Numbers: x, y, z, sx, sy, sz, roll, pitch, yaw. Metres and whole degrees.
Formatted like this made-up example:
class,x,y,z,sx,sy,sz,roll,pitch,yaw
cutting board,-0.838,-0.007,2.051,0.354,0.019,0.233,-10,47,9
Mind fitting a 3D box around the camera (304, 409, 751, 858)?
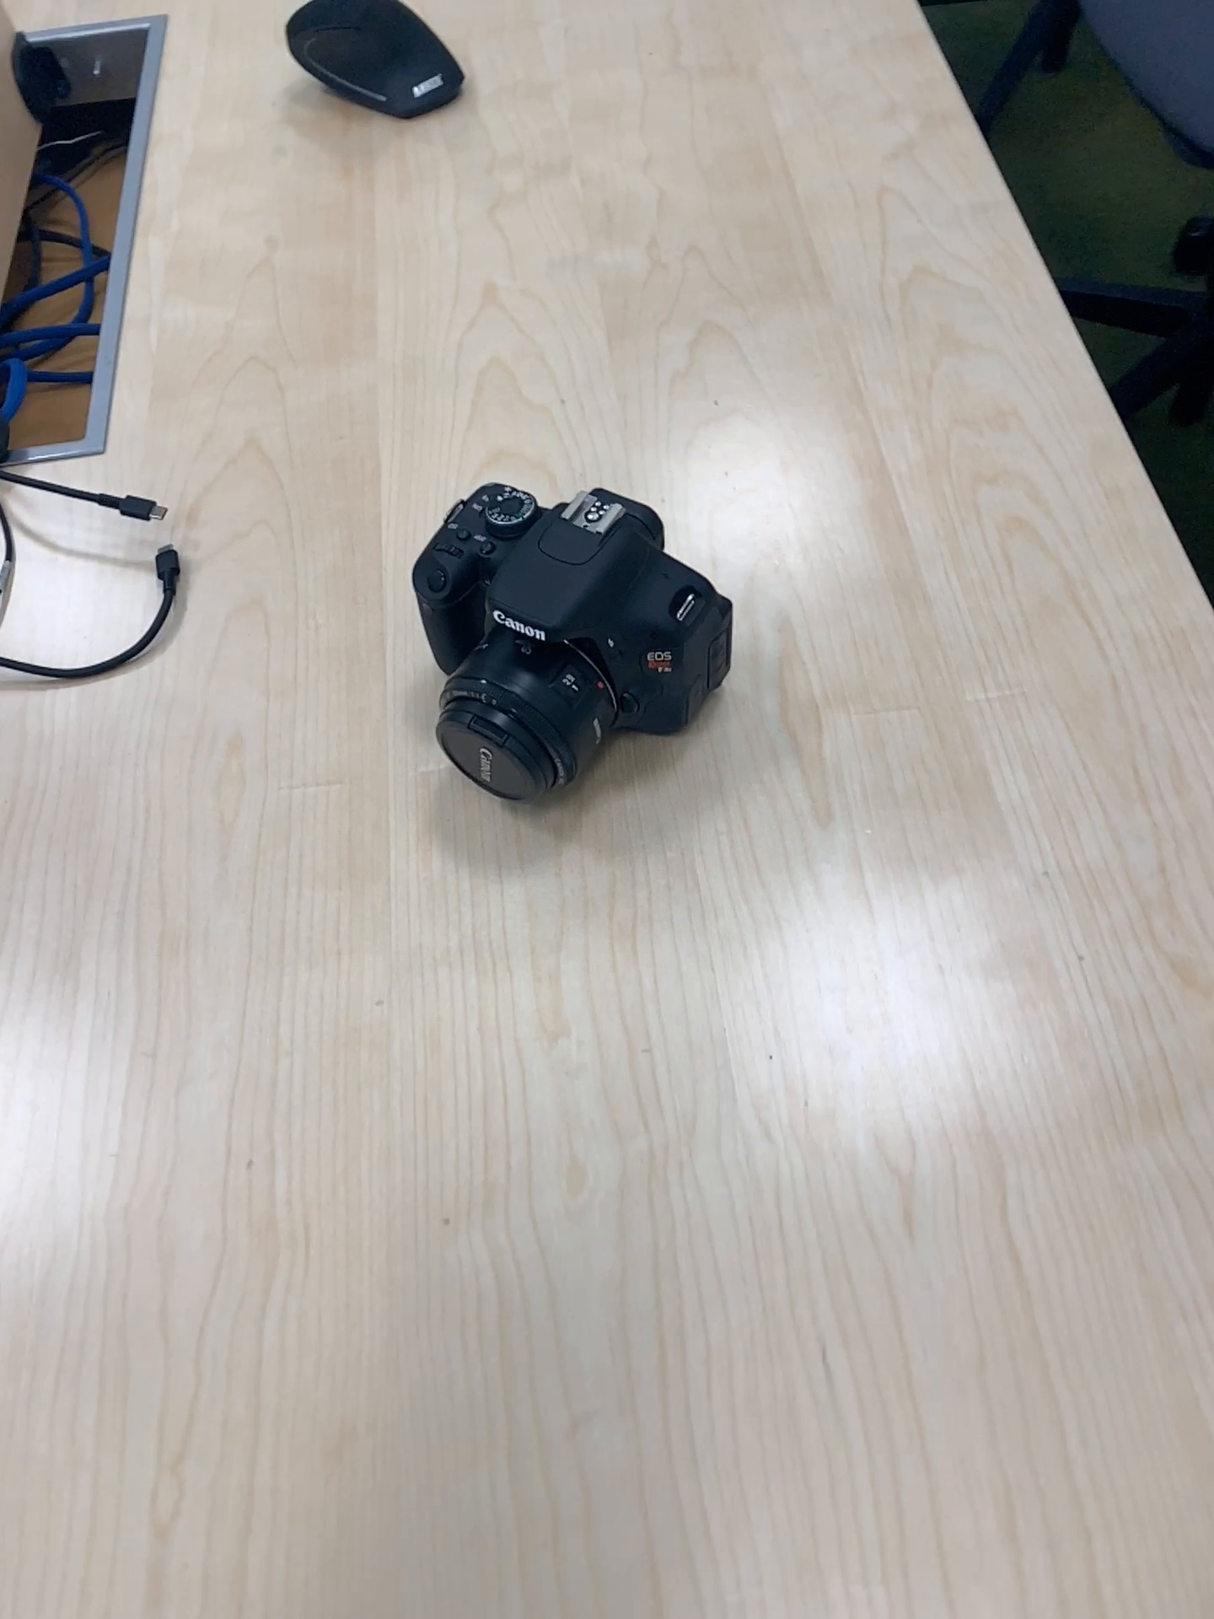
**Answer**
class,x,y,z,sx,sy,sz,roll,pitch,yaw
camera,-0.027,-0.075,0.519,0.130,0.090,0.120,25,64,19
